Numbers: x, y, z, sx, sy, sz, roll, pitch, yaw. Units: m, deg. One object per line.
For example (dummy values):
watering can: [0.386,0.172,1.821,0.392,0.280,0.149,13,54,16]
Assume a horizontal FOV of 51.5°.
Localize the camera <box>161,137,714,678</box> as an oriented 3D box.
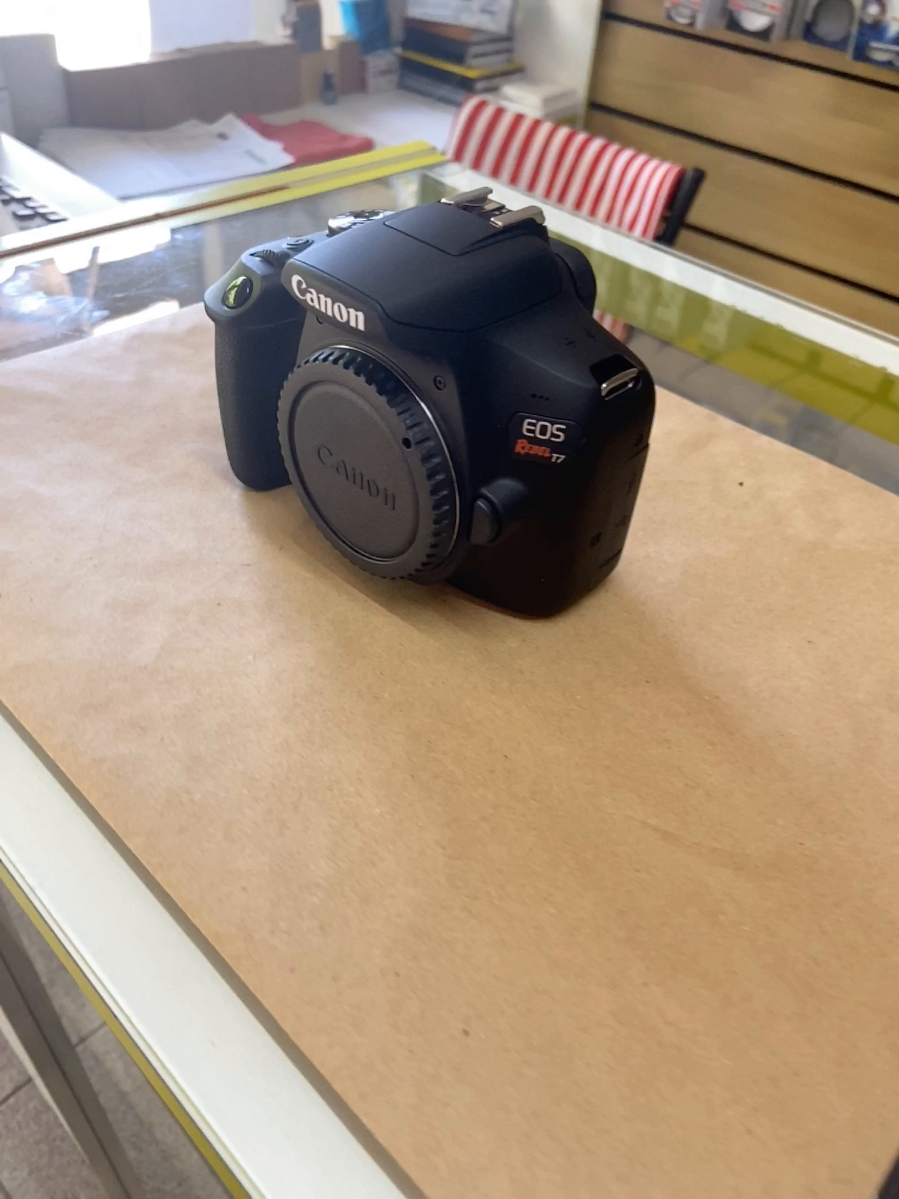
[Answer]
camera: [-0.009,-0.062,0.270,0.131,0.092,0.072,35,50,30]
